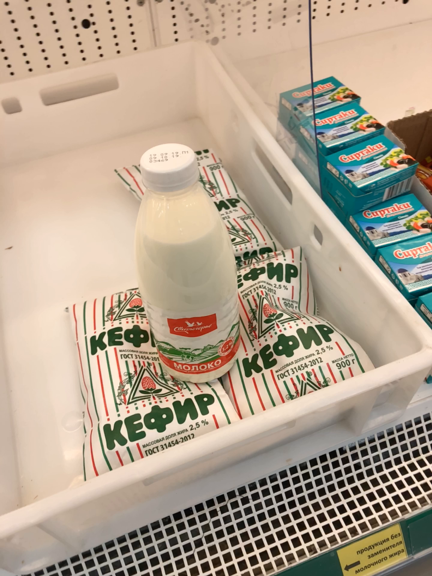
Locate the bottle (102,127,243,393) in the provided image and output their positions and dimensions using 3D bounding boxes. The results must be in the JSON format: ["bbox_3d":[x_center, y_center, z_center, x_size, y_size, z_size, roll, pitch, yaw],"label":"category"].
[{"bbox_3d":[-0.027,-0.011,0.404,0.085,0.216,0.085,-2,47,2],"label":"bottle"}]
